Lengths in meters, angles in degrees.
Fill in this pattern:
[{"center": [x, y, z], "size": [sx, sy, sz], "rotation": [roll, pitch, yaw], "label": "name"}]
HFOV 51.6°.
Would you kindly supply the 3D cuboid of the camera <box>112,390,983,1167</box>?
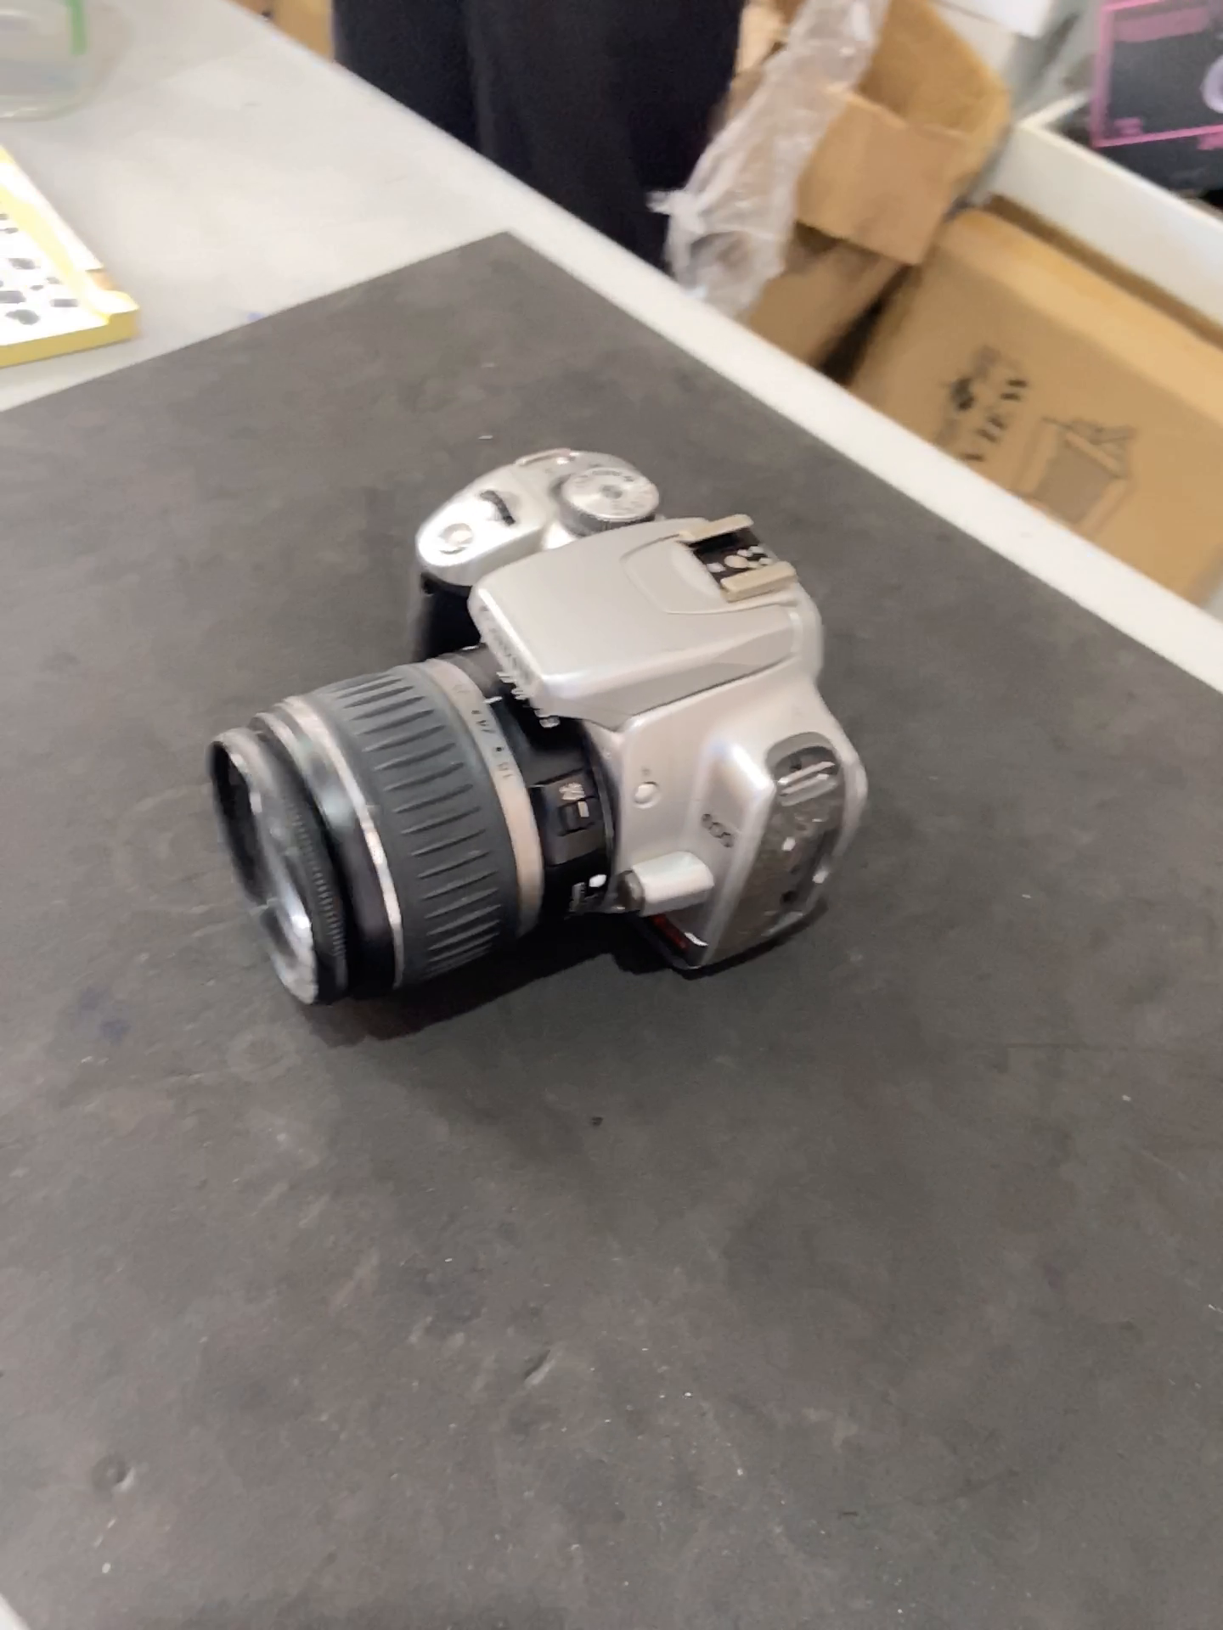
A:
[{"center": [-0.018, -0.018, 0.293], "size": [0.141, 0.080, 0.120], "rotation": [-23, 59, -29], "label": "camera"}]
